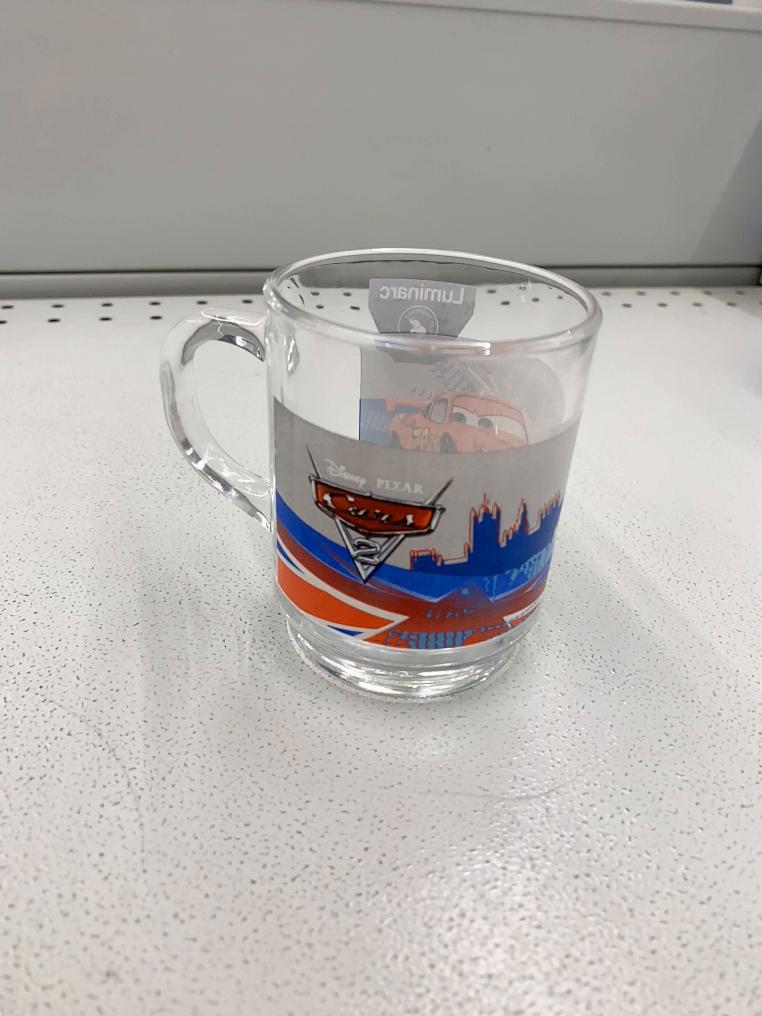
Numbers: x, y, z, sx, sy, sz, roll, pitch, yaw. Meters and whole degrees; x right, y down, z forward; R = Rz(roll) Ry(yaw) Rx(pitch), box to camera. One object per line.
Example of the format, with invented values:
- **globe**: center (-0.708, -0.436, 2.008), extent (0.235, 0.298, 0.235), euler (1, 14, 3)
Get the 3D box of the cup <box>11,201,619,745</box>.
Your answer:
- **cup**: center (-0.010, -0.015, 0.187), extent (0.108, 0.087, 0.071), euler (12, 32, 13)
